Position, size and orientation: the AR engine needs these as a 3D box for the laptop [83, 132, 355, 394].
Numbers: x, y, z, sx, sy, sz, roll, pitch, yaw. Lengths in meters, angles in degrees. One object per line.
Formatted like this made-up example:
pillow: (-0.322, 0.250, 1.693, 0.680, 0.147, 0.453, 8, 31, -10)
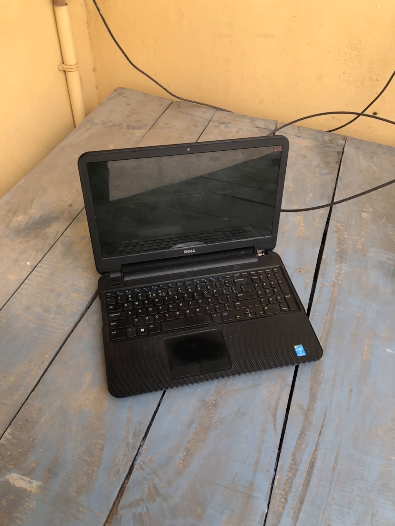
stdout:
laptop: (0.007, -0.015, 0.707, 0.331, 0.214, 0.308, -8, 49, -10)
